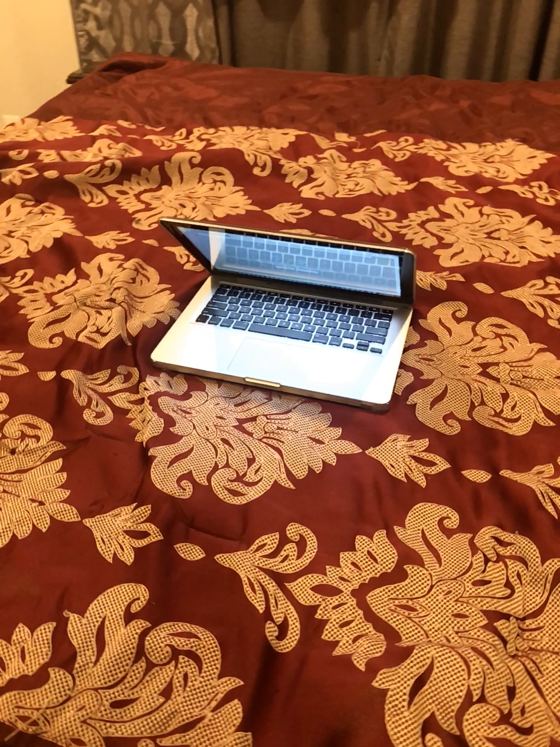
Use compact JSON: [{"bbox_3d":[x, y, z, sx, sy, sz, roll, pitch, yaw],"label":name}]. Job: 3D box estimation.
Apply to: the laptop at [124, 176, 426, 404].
[{"bbox_3d":[0.007,-0.118,0.792,0.312,0.156,0.213,10,41,13],"label":"laptop"}]
